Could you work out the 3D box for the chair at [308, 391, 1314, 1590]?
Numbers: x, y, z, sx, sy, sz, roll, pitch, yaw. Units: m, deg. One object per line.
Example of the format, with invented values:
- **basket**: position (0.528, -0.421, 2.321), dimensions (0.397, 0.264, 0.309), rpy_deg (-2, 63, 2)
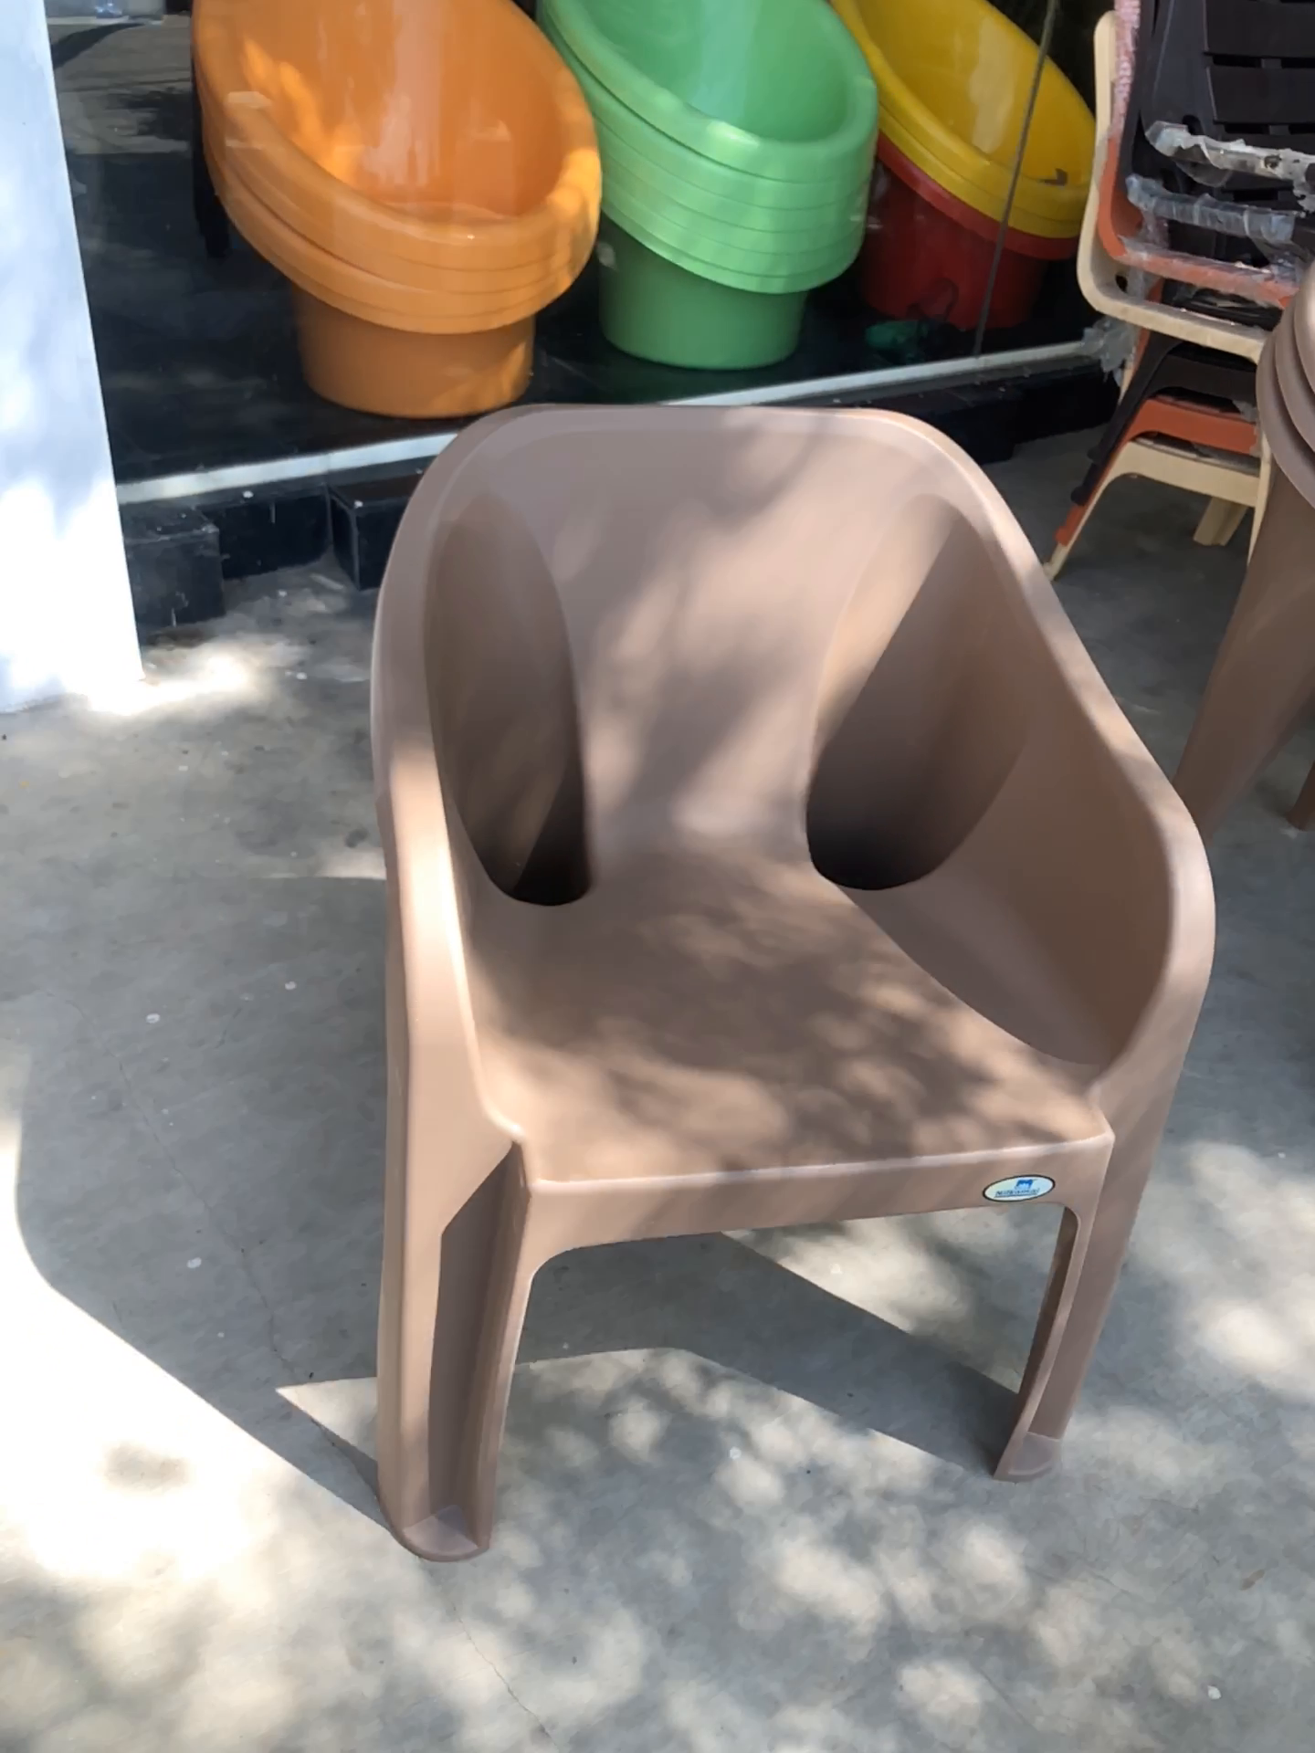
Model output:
- **chair**: position (0.054, 0.037, 1.219), dimensions (0.641, 0.636, 0.723), rpy_deg (-3, 37, -12)
